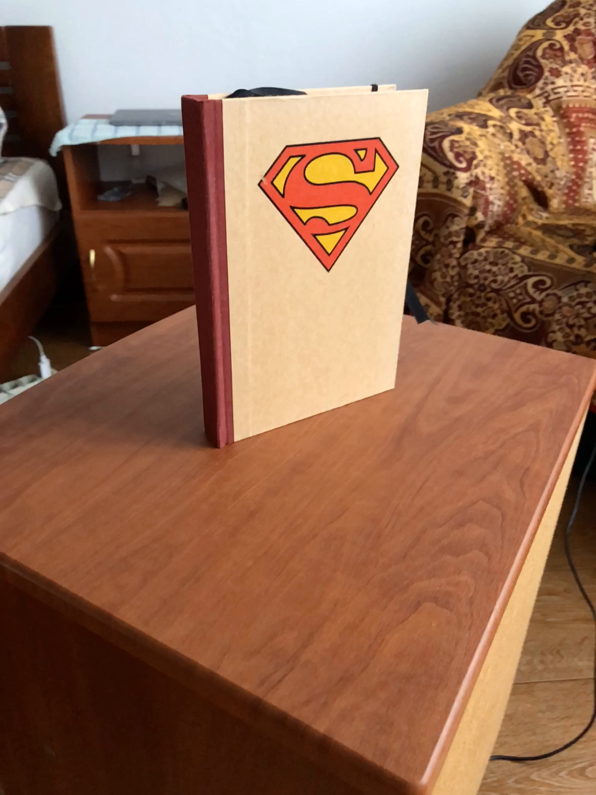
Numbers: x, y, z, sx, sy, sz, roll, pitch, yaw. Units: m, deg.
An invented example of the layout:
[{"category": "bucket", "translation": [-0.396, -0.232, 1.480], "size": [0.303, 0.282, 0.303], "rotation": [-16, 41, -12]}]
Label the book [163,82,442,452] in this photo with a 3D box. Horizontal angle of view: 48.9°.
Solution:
[{"category": "book", "translation": [0.006, -0.084, 0.419], "size": [0.162, 0.203, 0.041], "rotation": [-18, 35, -29]}]
